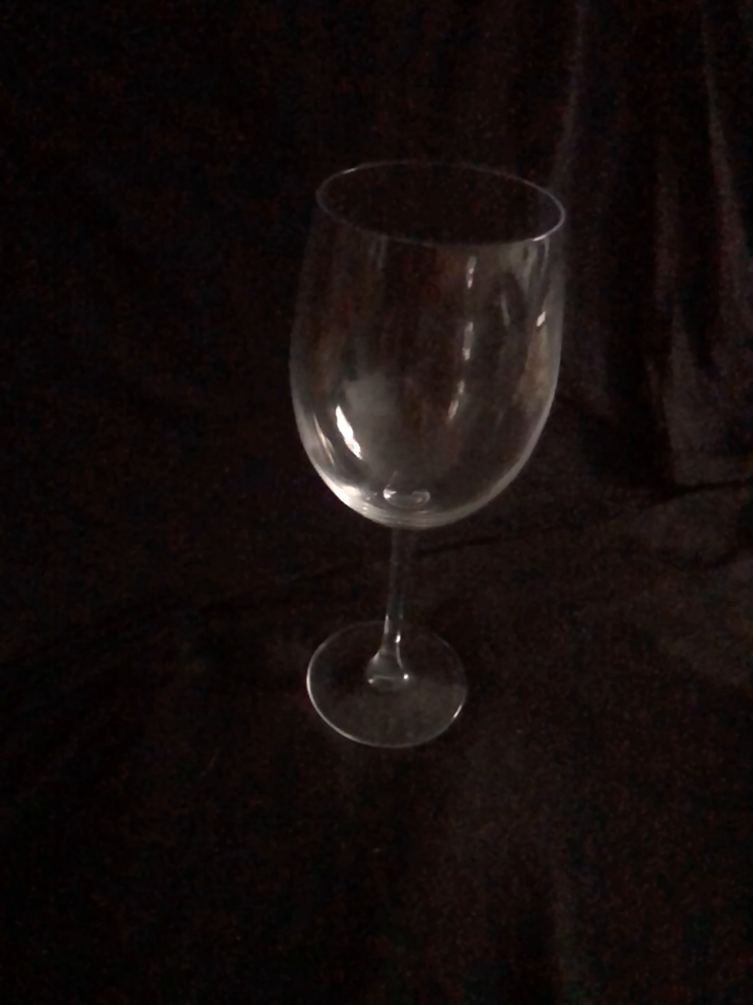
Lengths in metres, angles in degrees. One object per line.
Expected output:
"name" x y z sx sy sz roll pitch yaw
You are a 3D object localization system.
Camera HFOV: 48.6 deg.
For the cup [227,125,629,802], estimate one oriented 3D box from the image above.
"cup" 0.016 -0.002 0.363 0.103 0.266 0.101 2 41 -2
